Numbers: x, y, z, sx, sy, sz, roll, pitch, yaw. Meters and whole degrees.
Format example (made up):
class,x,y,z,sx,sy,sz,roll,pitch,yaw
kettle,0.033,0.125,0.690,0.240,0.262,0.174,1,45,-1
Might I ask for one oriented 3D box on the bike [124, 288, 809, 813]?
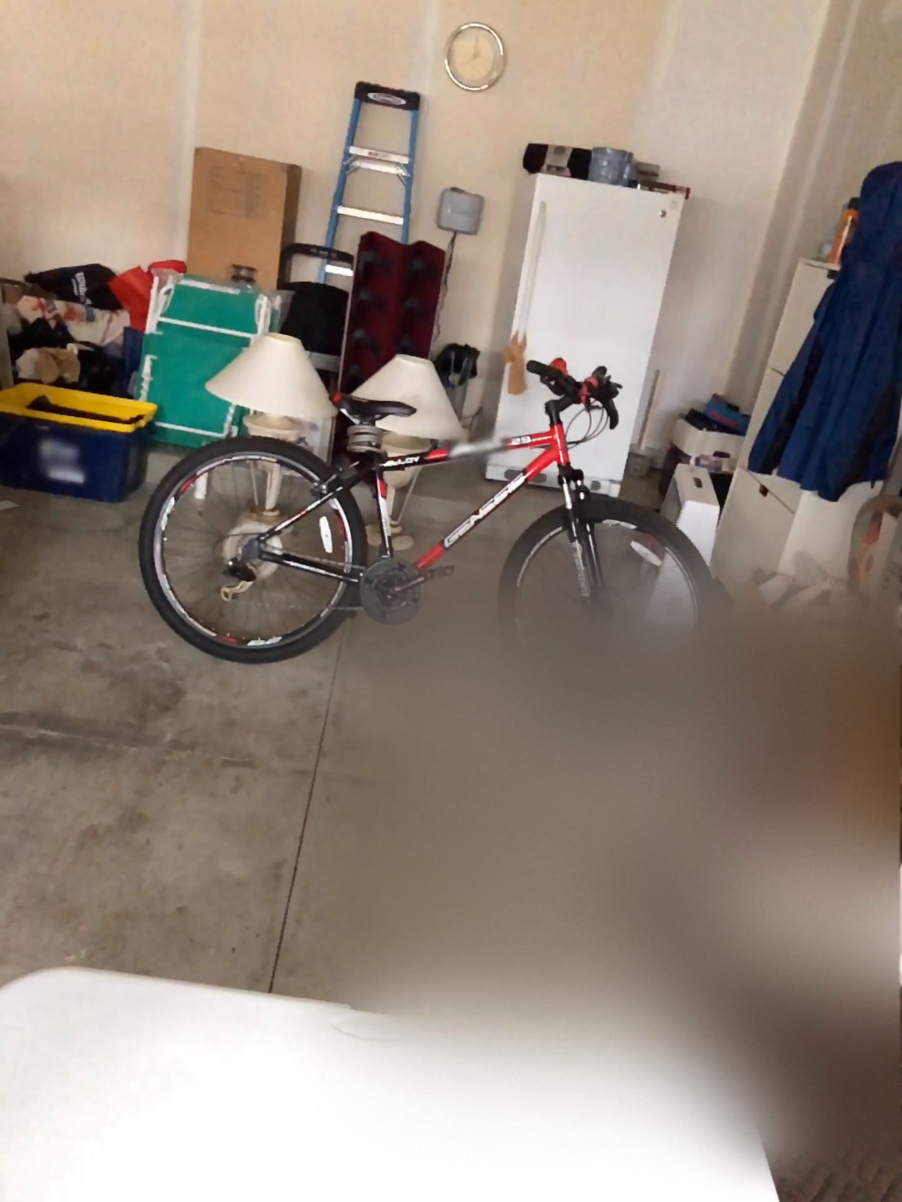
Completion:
class,x,y,z,sx,sy,sz,roll,pitch,yaw
bike,-0.065,-0.193,2.895,1.668,1.054,0.591,12,21,4
